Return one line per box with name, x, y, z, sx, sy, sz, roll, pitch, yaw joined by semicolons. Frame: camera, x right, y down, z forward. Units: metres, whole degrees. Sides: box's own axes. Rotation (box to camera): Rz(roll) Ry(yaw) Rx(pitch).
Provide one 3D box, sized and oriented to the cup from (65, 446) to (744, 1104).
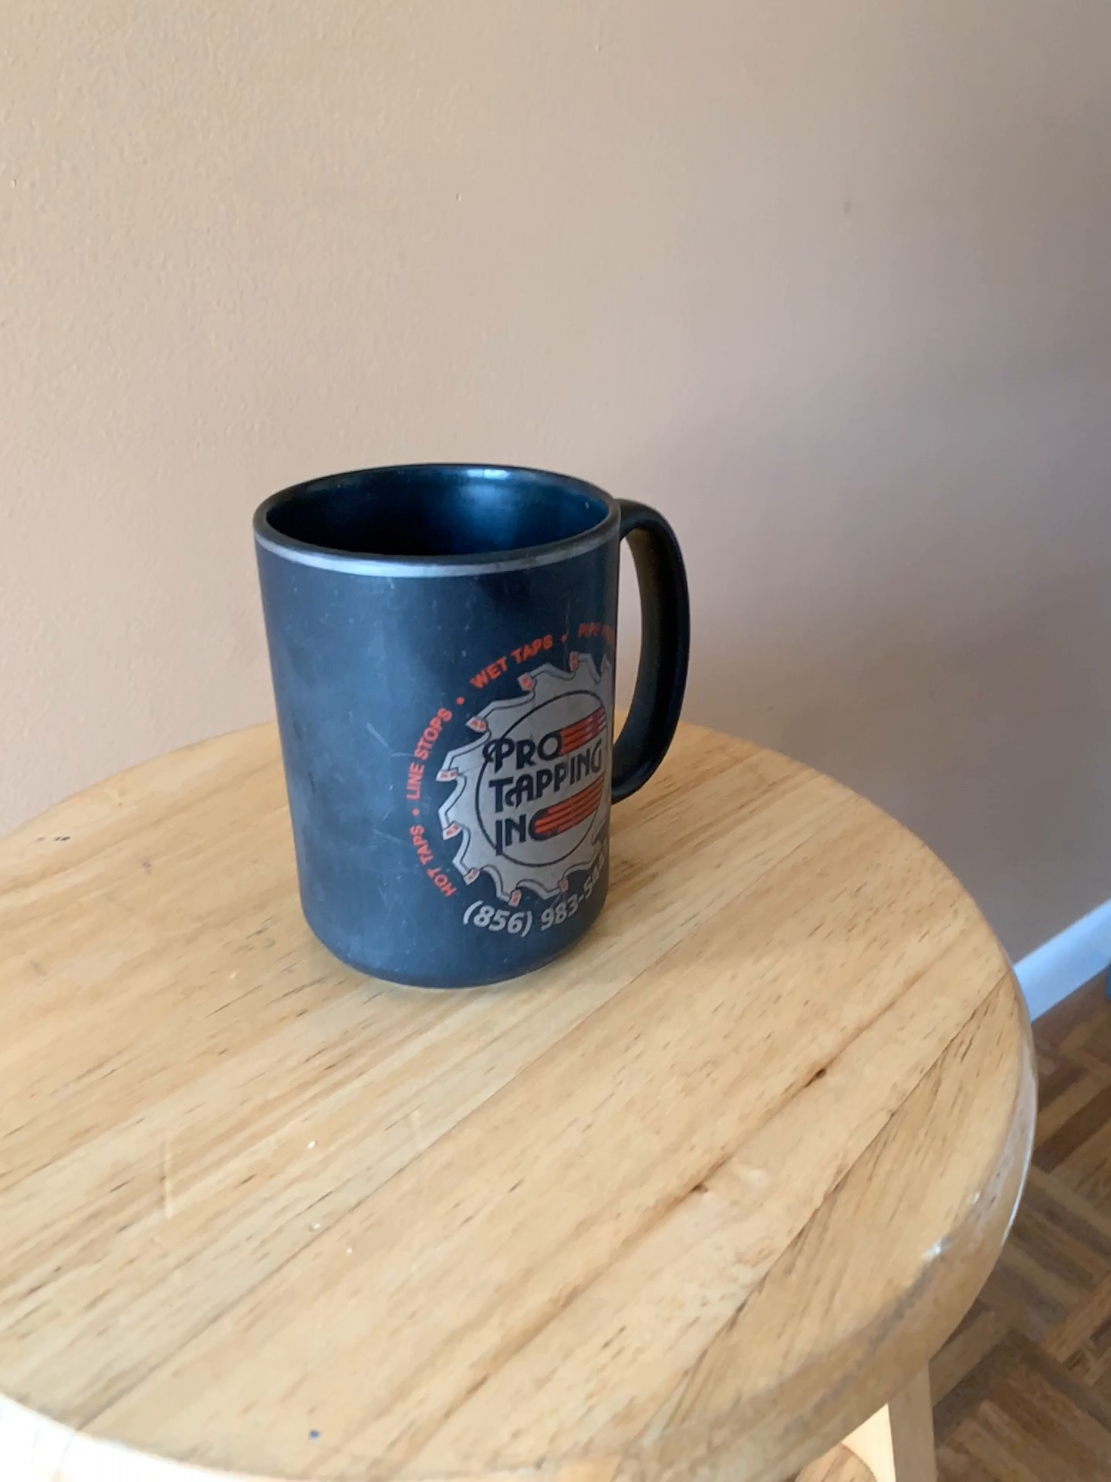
cup;-0.037;-0.006;0.329;0.140;0.119;0.110;-24;34;-39
